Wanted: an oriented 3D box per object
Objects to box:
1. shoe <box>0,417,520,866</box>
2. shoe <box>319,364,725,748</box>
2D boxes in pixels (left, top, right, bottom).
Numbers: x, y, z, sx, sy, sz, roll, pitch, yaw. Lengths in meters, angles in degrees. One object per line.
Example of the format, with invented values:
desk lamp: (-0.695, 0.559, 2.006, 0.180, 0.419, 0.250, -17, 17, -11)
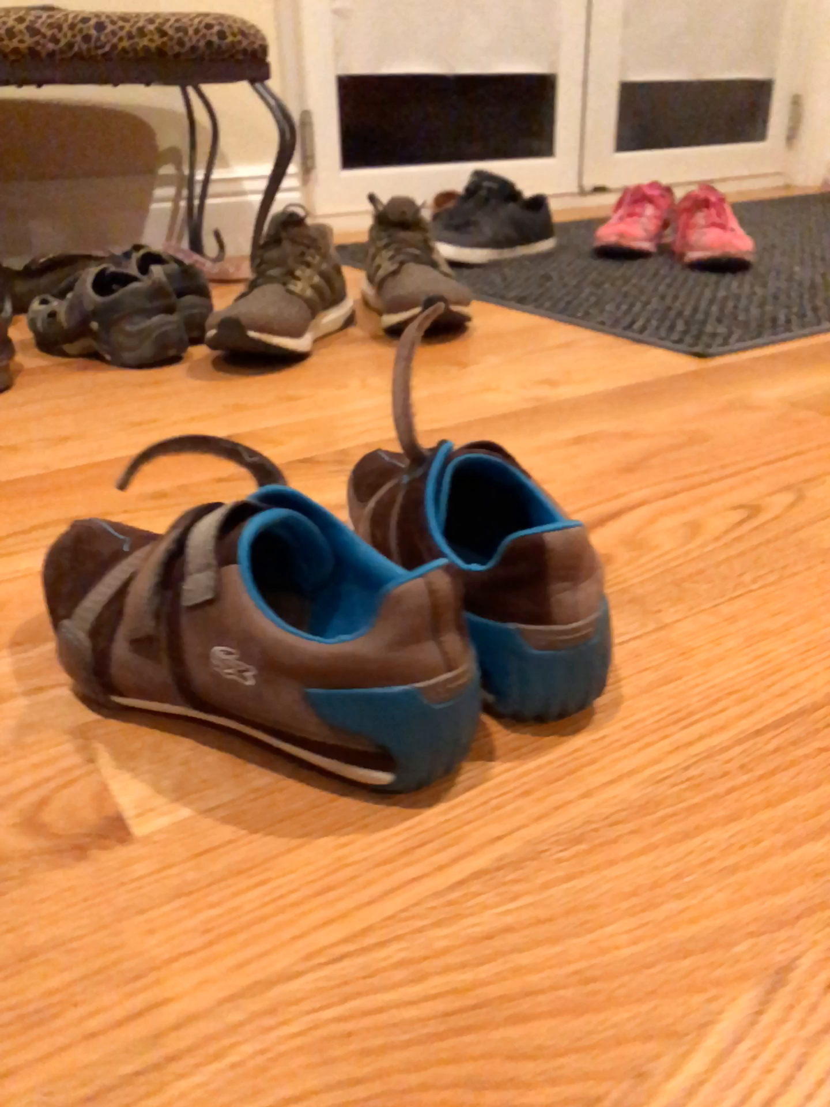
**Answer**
shoe: (-0.091, 0.018, 0.408, 0.256, 0.092, 0.102, 17, 31, 33)
shoe: (0.035, -0.021, 0.486, 0.102, 0.092, 0.256, -10, 27, -18)
